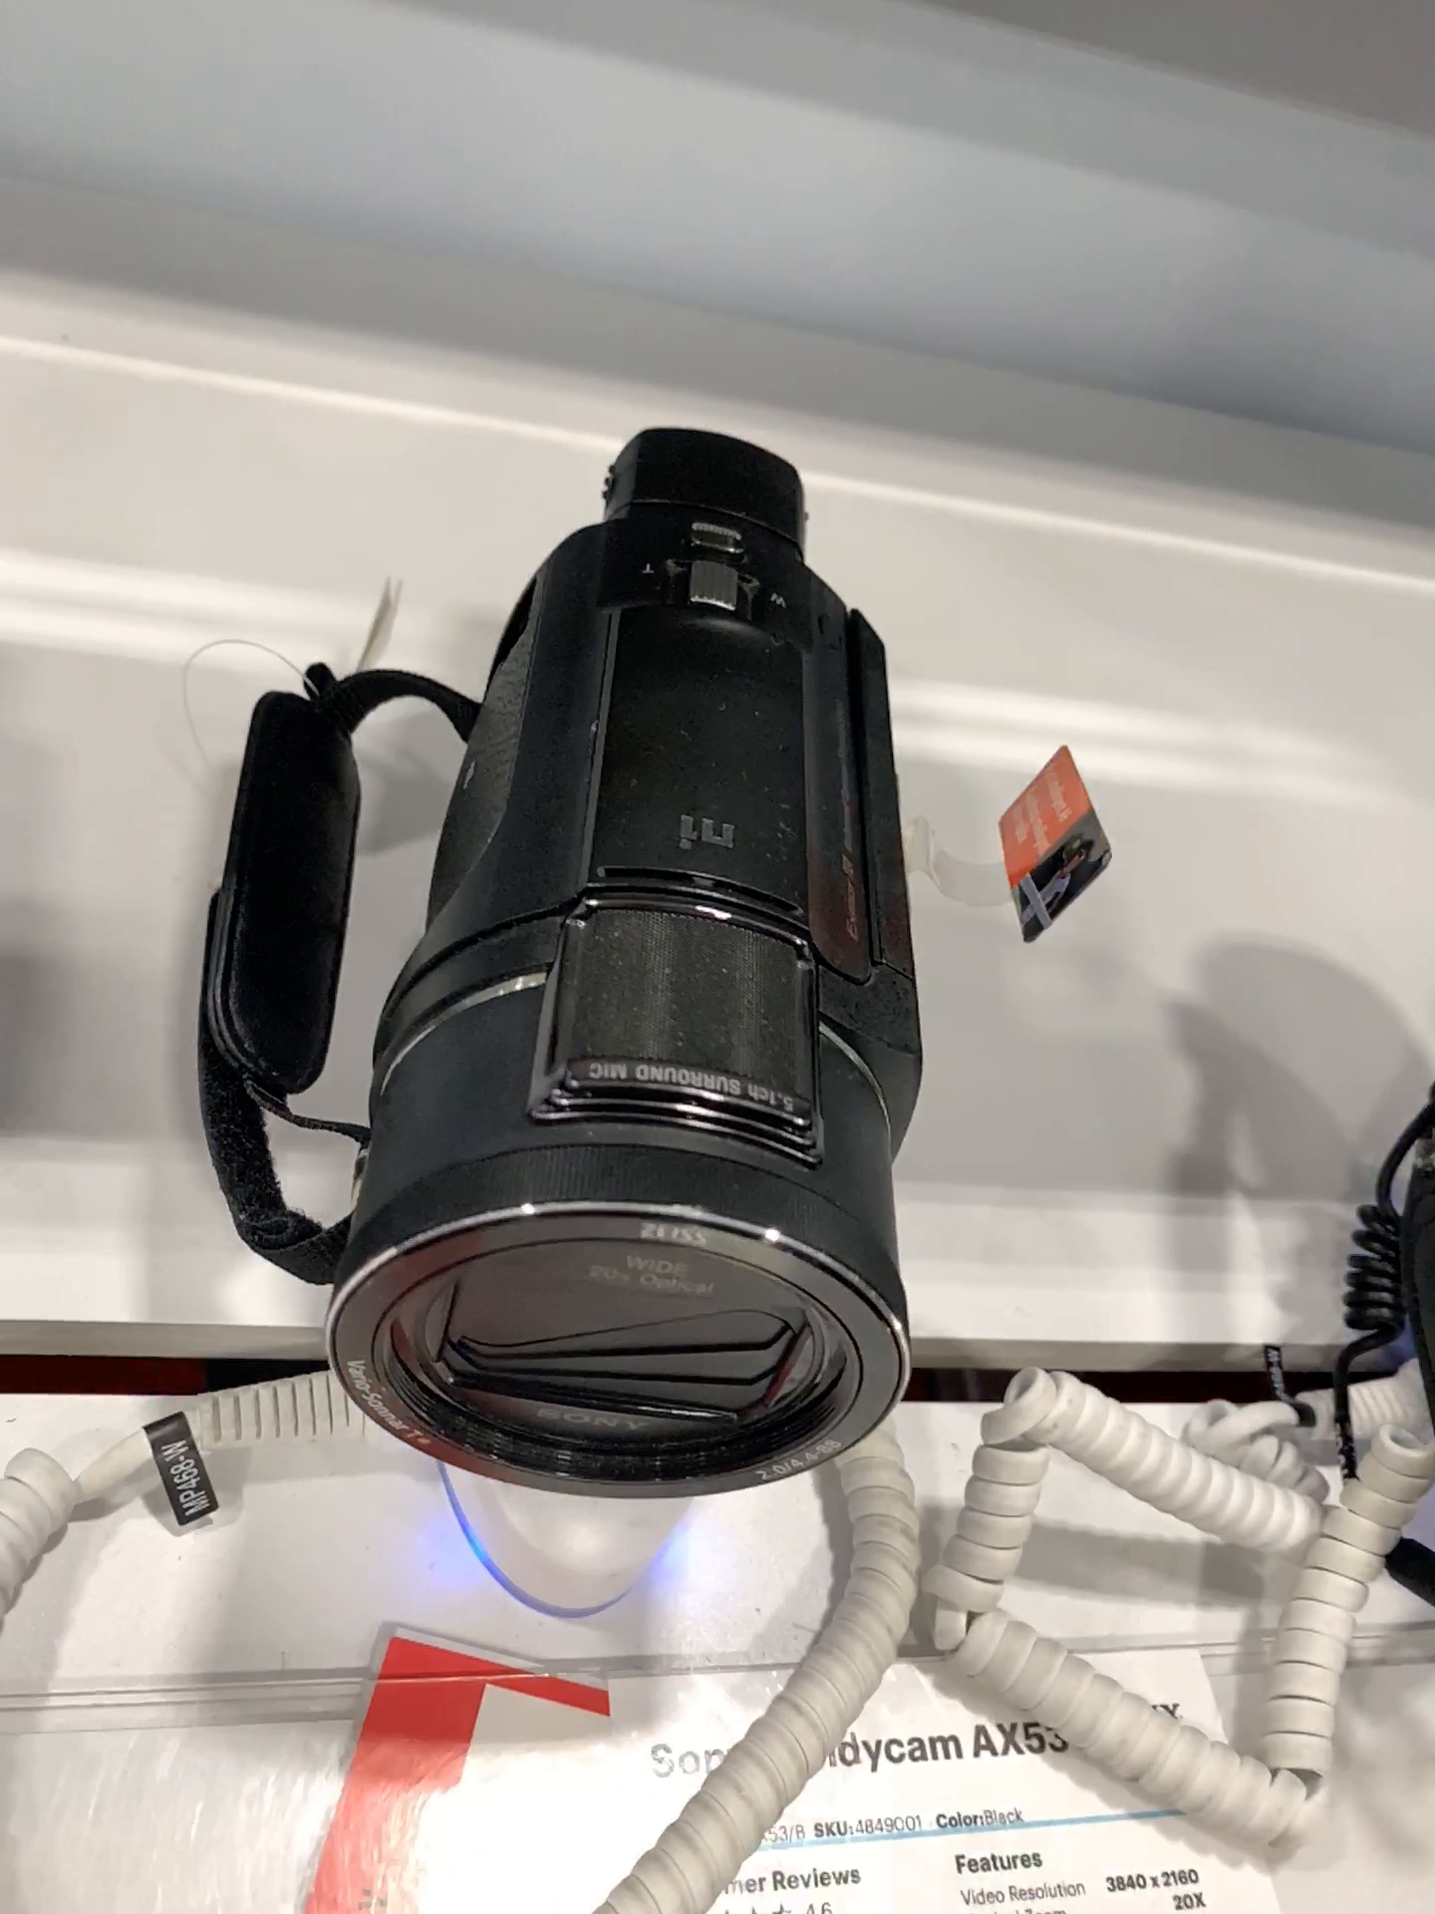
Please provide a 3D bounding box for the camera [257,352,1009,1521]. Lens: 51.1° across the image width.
[{"bbox_3d":[-0.012,-0.011,0.218,0.070,0.071,0.151,11,46,-10],"label":"camera"}]
